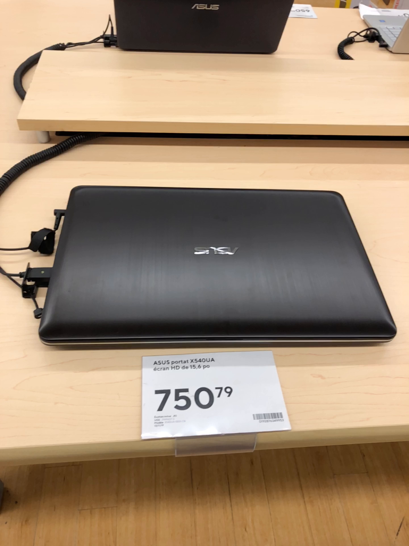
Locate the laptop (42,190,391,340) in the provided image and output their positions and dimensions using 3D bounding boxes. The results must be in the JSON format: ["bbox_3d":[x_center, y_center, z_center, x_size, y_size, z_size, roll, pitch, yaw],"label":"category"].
[{"bbox_3d":[0.014,-0.021,0.551,0.369,0.010,0.228,0,49,-5],"label":"laptop"}]
